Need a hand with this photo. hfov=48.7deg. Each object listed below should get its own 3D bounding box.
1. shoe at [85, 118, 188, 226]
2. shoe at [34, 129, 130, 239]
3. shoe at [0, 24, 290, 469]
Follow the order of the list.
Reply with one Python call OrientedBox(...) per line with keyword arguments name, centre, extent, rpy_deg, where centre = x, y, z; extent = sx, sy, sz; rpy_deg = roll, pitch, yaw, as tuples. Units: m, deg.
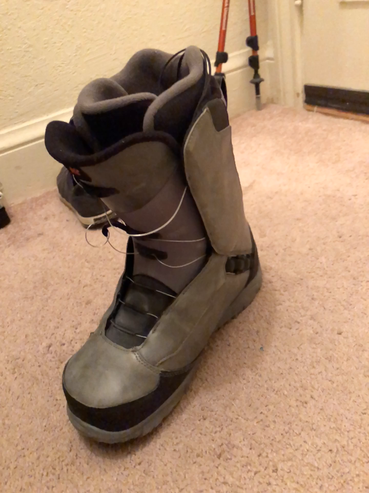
OrientedBox(name="shoe", centre=(-0.113, -0.172, 0.868), extent=(0.107, 0.116, 0.305), rpy_deg=(-20, 34, -16))
OrientedBox(name="shoe", centre=(-0.210, -0.135, 0.798), extent=(0.087, 0.107, 0.284), rpy_deg=(-25, 35, -16))
OrientedBox(name="shoe", centre=(-0.041, -0.016, 0.386), extent=(0.138, 0.281, 0.274), rpy_deg=(20, 46, 40))
